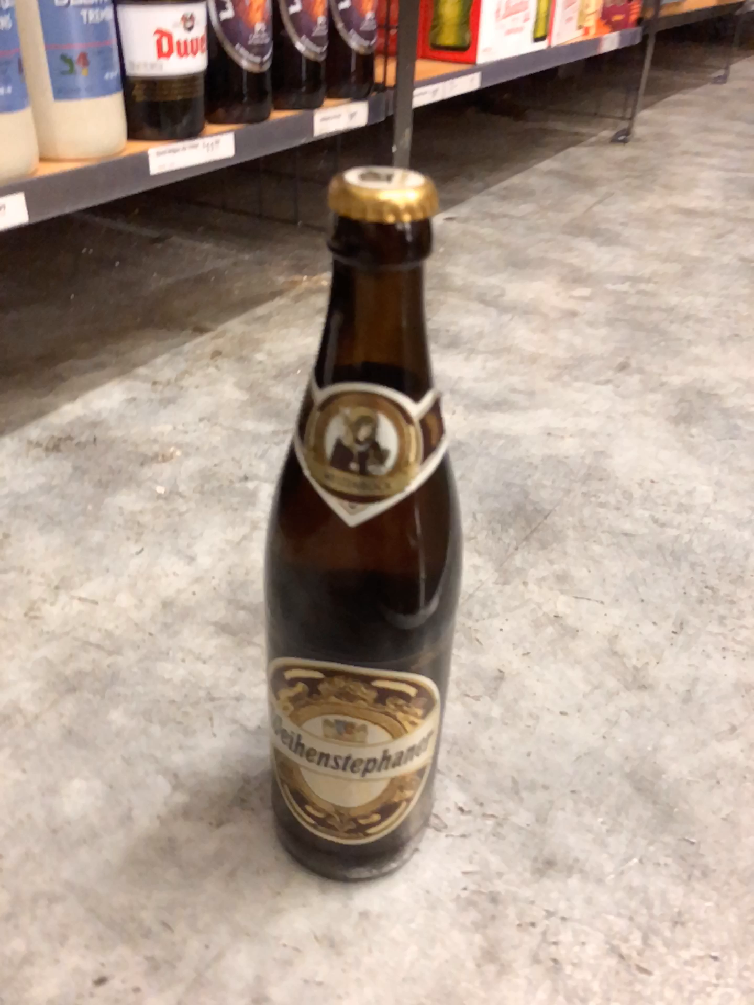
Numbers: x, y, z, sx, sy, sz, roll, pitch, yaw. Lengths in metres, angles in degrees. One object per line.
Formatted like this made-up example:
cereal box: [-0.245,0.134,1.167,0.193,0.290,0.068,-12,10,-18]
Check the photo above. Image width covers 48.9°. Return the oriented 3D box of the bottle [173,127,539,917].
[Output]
bottle: [-0.006,0.023,0.267,0.070,0.249,0.070,2,34,-1]
